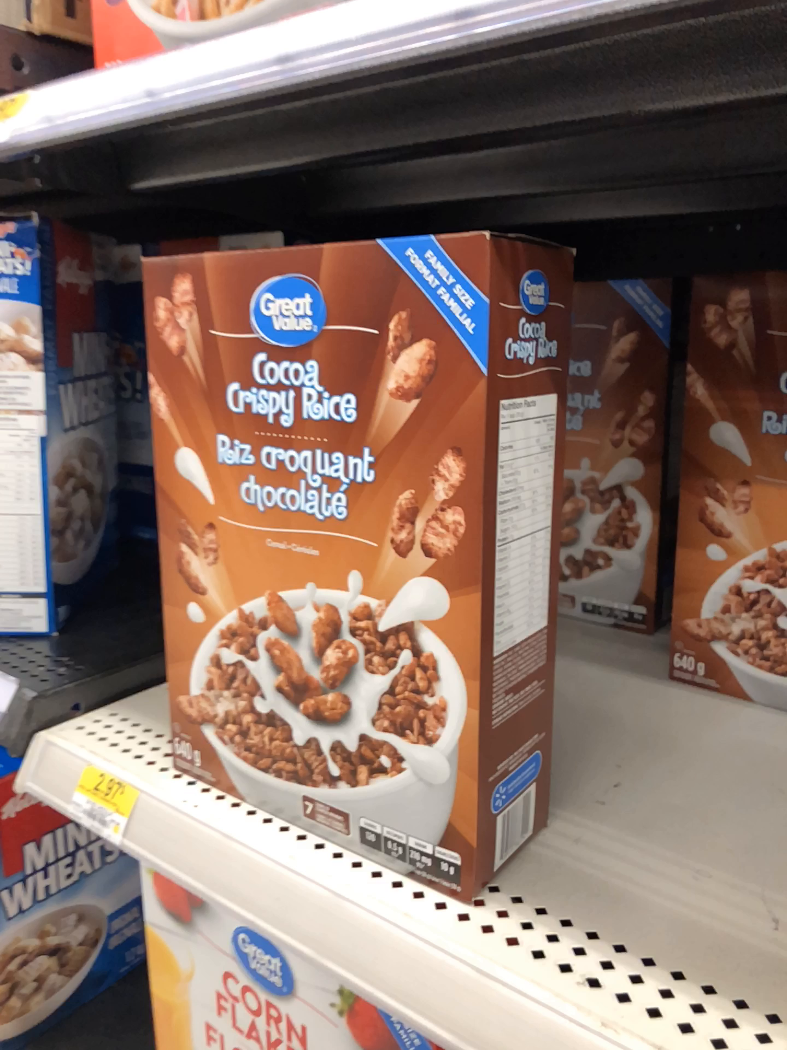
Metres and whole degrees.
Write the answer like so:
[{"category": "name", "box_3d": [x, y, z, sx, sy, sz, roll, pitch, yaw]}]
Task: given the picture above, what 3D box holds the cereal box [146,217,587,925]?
[{"category": "cereal box", "box_3d": [-0.020, 0.010, 0.450, 0.210, 0.299, 0.080, 9, 14, 37]}]
